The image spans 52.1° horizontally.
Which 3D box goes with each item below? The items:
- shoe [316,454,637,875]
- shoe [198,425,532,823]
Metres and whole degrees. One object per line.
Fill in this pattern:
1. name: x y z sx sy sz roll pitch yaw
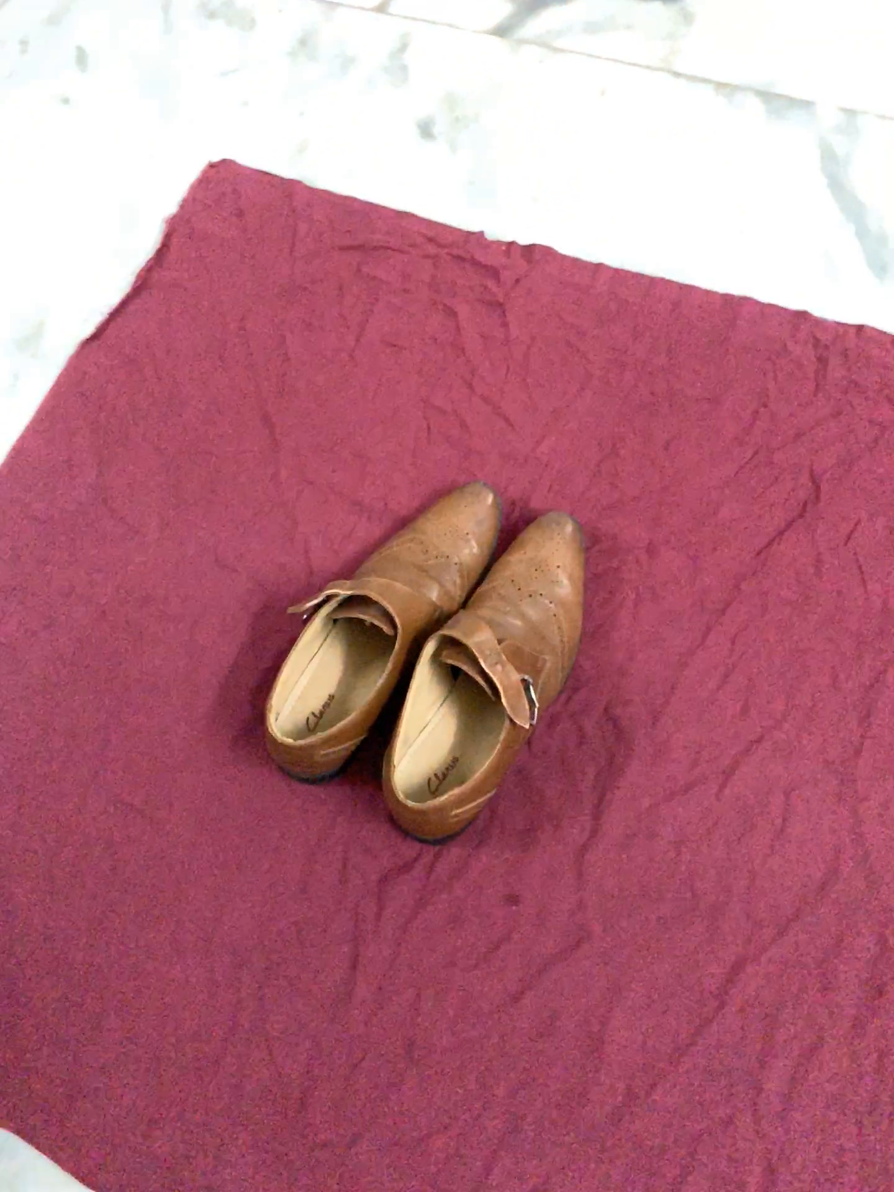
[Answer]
1. shoe: 0.031 0.047 0.704 0.100 0.090 0.301 26 69 15
2. shoe: -0.054 0.018 0.750 0.100 0.090 0.311 30 70 16
